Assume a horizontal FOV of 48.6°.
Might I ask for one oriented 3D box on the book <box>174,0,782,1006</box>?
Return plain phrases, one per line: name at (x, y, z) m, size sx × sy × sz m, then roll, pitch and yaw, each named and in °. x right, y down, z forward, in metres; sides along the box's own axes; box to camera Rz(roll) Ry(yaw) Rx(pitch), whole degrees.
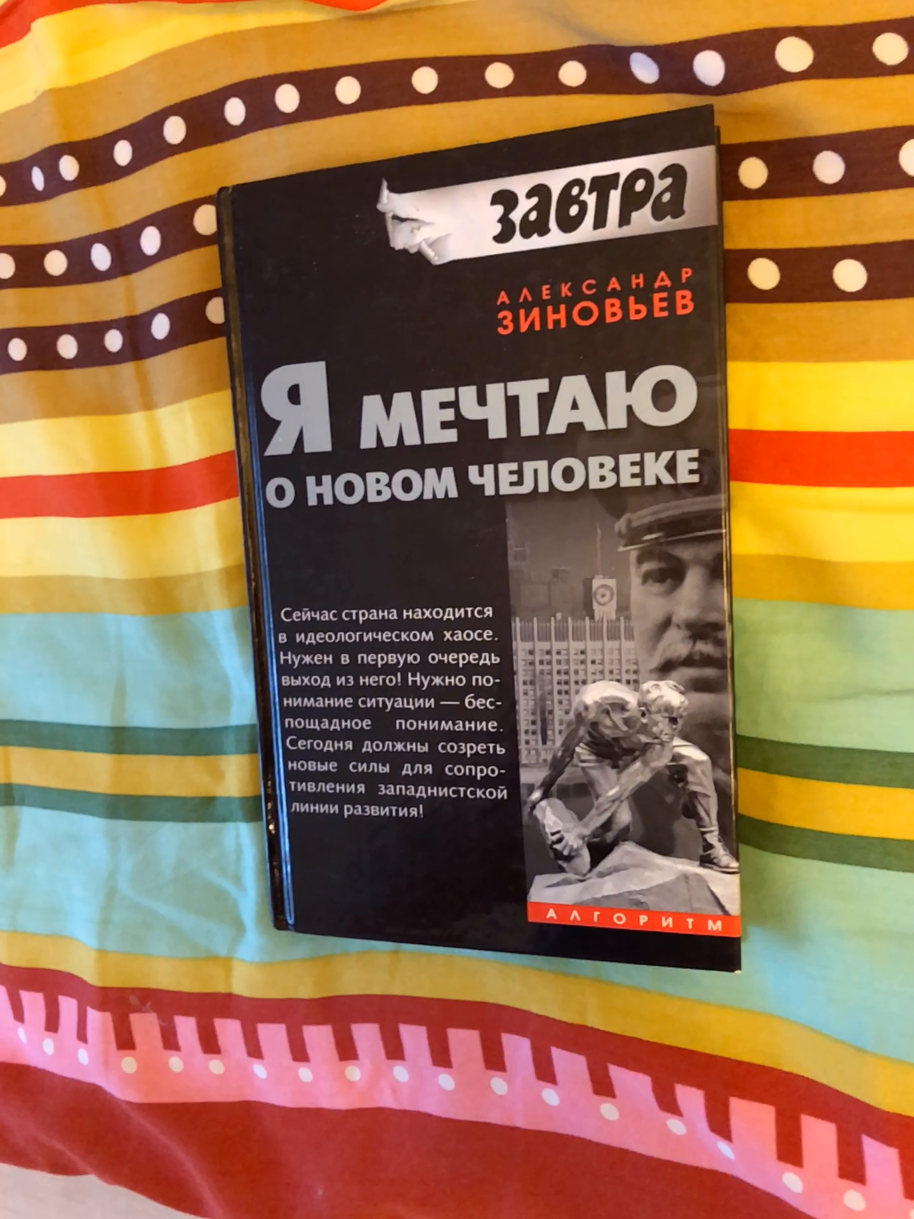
book at (0.008, -0.019, 0.256) m, size 0.140 × 0.030 × 0.220 m, roll 0°, pitch 98°, yaw 18°
